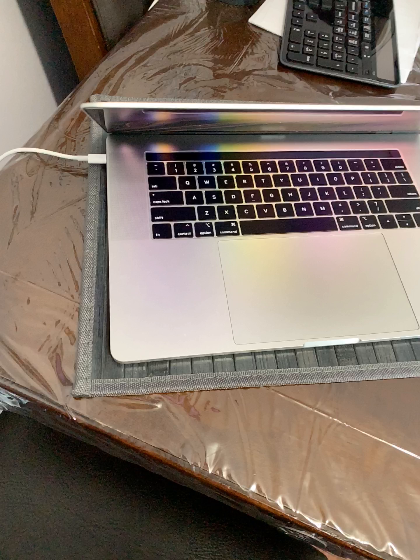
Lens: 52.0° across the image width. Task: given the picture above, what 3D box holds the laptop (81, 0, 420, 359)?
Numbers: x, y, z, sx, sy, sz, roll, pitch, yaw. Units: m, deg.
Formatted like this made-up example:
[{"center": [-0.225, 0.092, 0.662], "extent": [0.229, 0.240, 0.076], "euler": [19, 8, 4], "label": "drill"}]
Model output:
[{"center": [0.091, -0.094, 0.331], "extent": [0.339, 0.164, 0.234], "euler": [-3, 60, -10], "label": "laptop"}]
